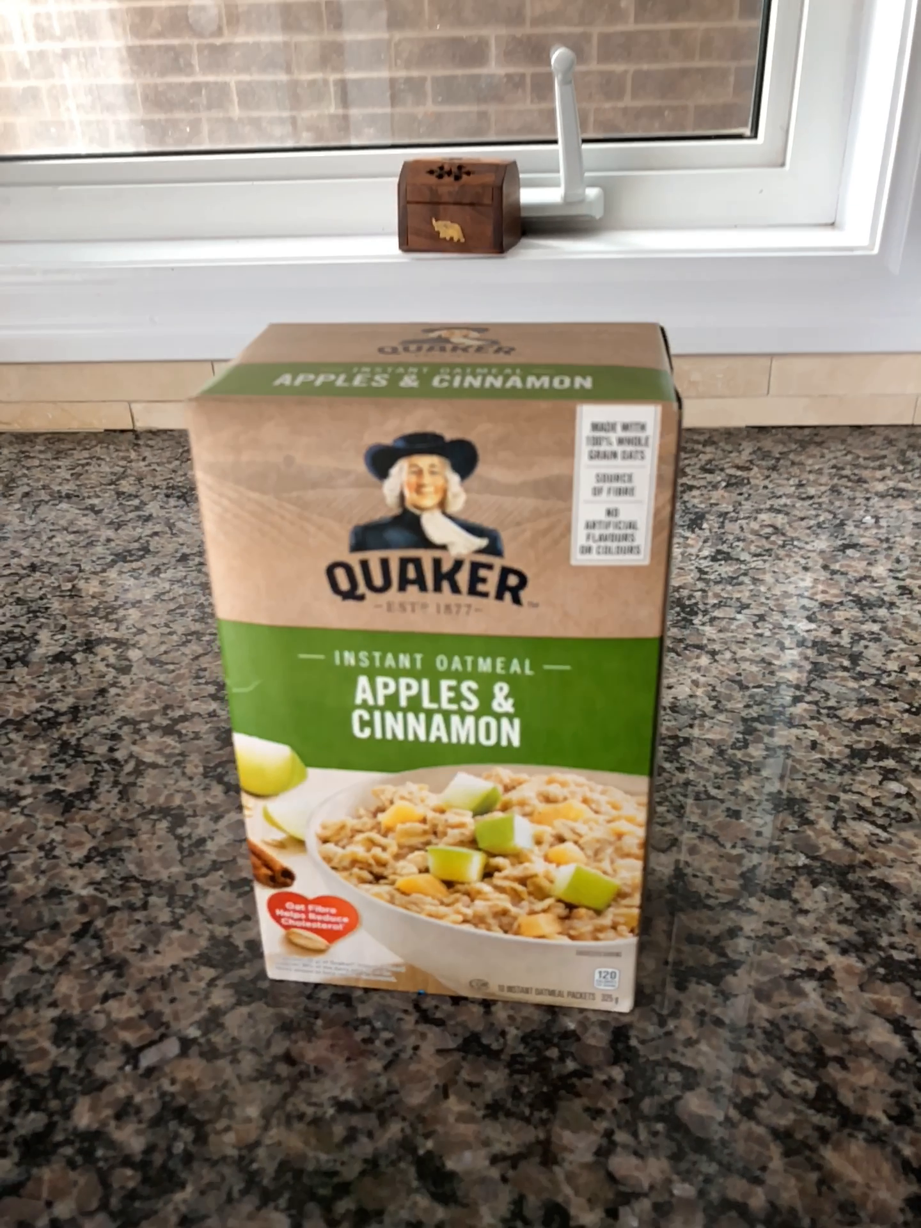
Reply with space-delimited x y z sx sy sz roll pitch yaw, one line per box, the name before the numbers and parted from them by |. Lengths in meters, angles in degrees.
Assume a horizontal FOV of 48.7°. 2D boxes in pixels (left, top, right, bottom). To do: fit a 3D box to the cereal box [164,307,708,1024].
cereal box | 0.001 0.018 0.330 0.130 0.209 0.090 3 29 8
